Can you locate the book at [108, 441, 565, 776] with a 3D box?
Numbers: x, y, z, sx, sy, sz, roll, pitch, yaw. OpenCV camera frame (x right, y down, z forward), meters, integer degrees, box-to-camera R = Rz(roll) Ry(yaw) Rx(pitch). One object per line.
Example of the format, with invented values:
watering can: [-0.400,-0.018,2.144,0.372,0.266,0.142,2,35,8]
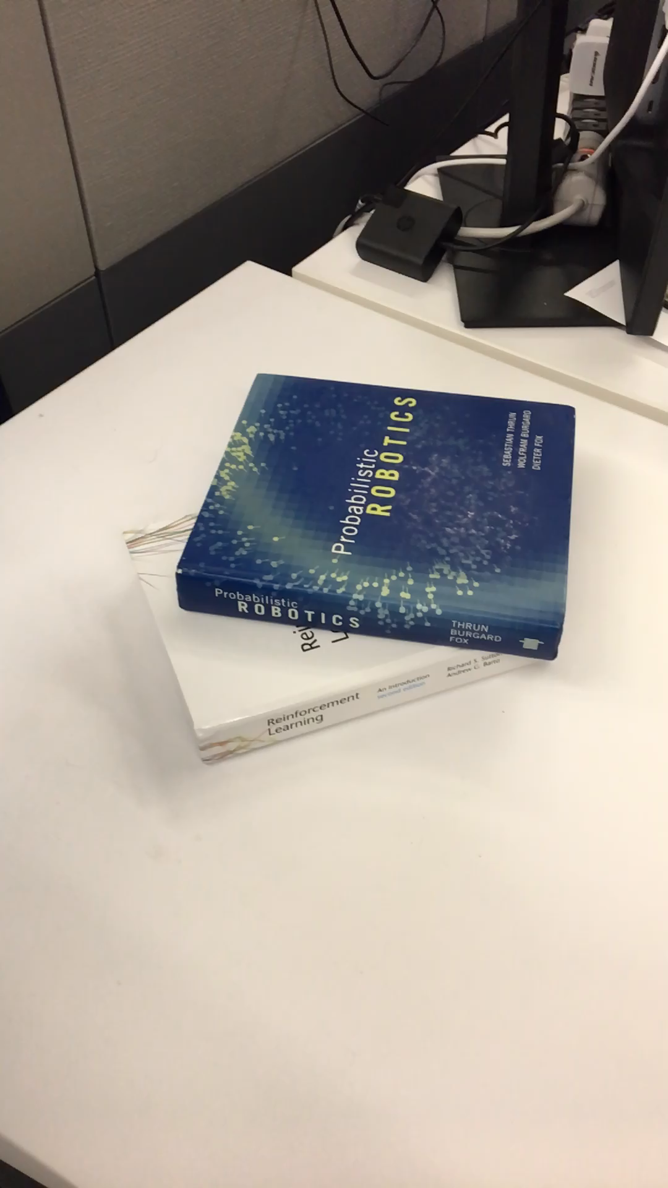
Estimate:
book: [-0.006,-0.003,0.642,0.240,0.030,0.190,-15,50,-13]

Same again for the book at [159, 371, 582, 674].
book: [0.035,-0.057,0.645,0.240,0.030,0.210,8,49,7]
